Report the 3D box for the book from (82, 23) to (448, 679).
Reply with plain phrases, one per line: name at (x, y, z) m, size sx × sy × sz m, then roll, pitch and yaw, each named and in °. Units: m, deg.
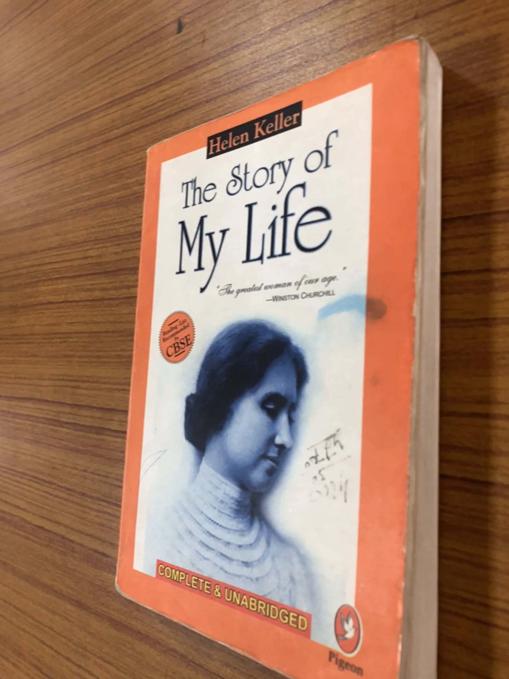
book at (-0.003, 0.009, 0.185) m, size 0.121 × 0.030 × 0.170 m, roll -3°, pitch 82°, yaw 41°
